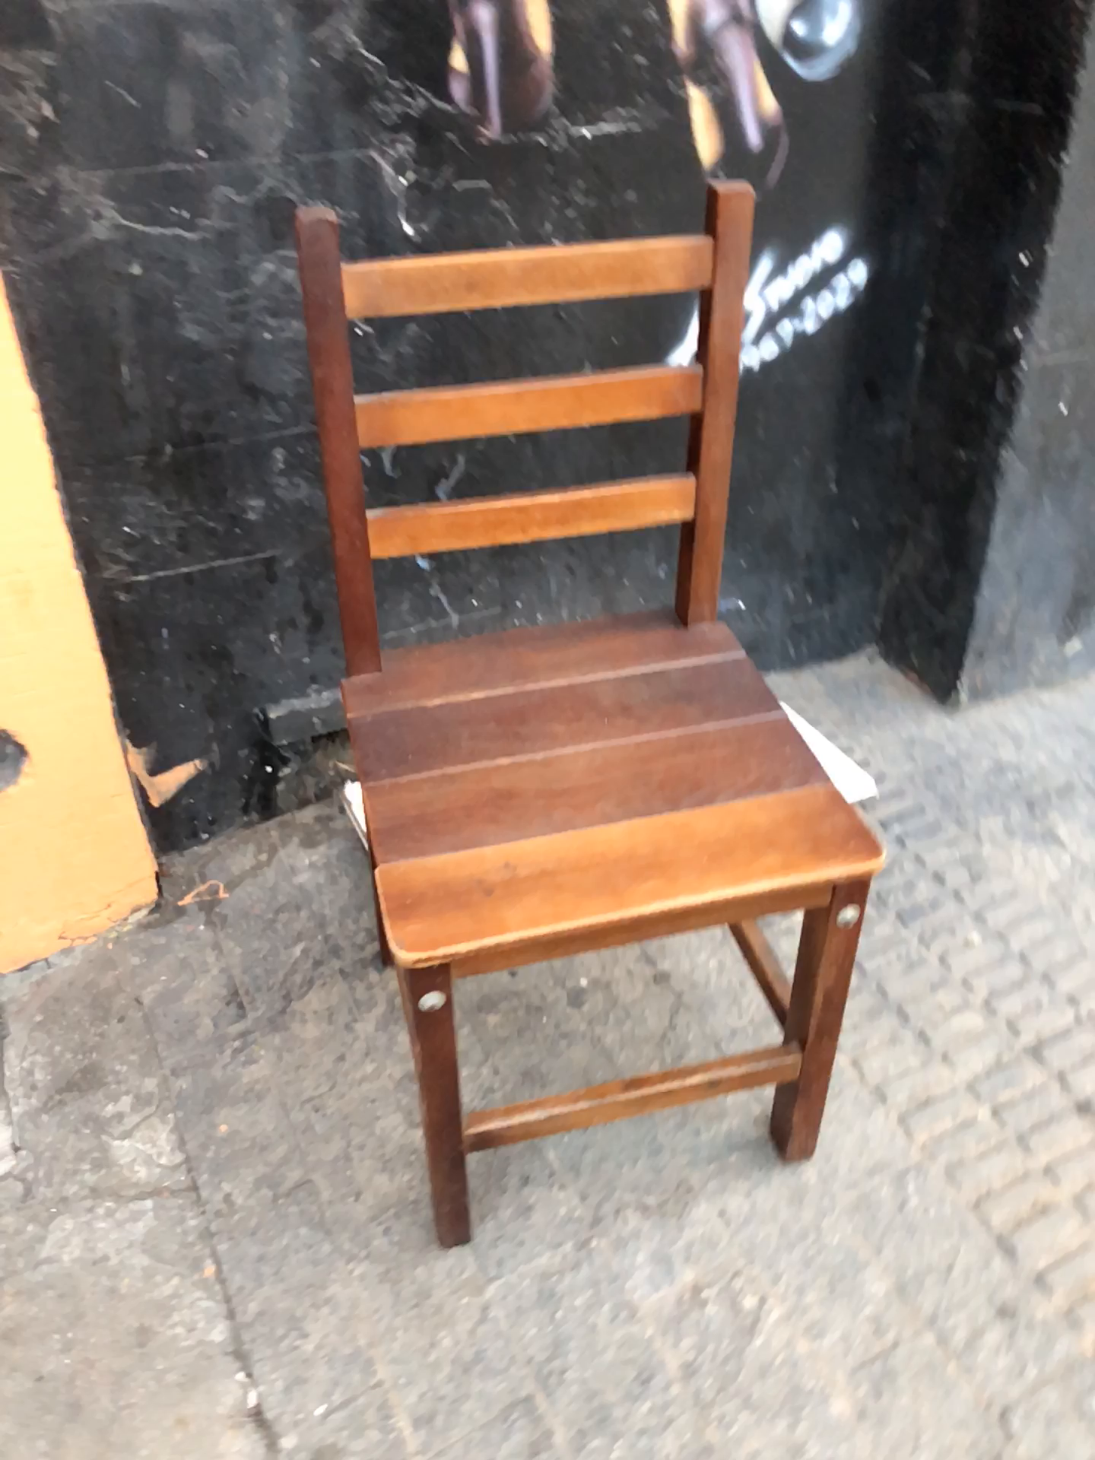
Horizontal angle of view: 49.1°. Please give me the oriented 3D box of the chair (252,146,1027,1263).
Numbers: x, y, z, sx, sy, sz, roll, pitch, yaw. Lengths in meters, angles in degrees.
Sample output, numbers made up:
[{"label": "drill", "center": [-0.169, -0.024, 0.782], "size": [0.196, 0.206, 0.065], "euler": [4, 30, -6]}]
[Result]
[{"label": "chair", "center": [0.028, -0.026, 1.166], "size": [0.460, 0.893, 0.504], "euler": [-9, 34, -11]}]
